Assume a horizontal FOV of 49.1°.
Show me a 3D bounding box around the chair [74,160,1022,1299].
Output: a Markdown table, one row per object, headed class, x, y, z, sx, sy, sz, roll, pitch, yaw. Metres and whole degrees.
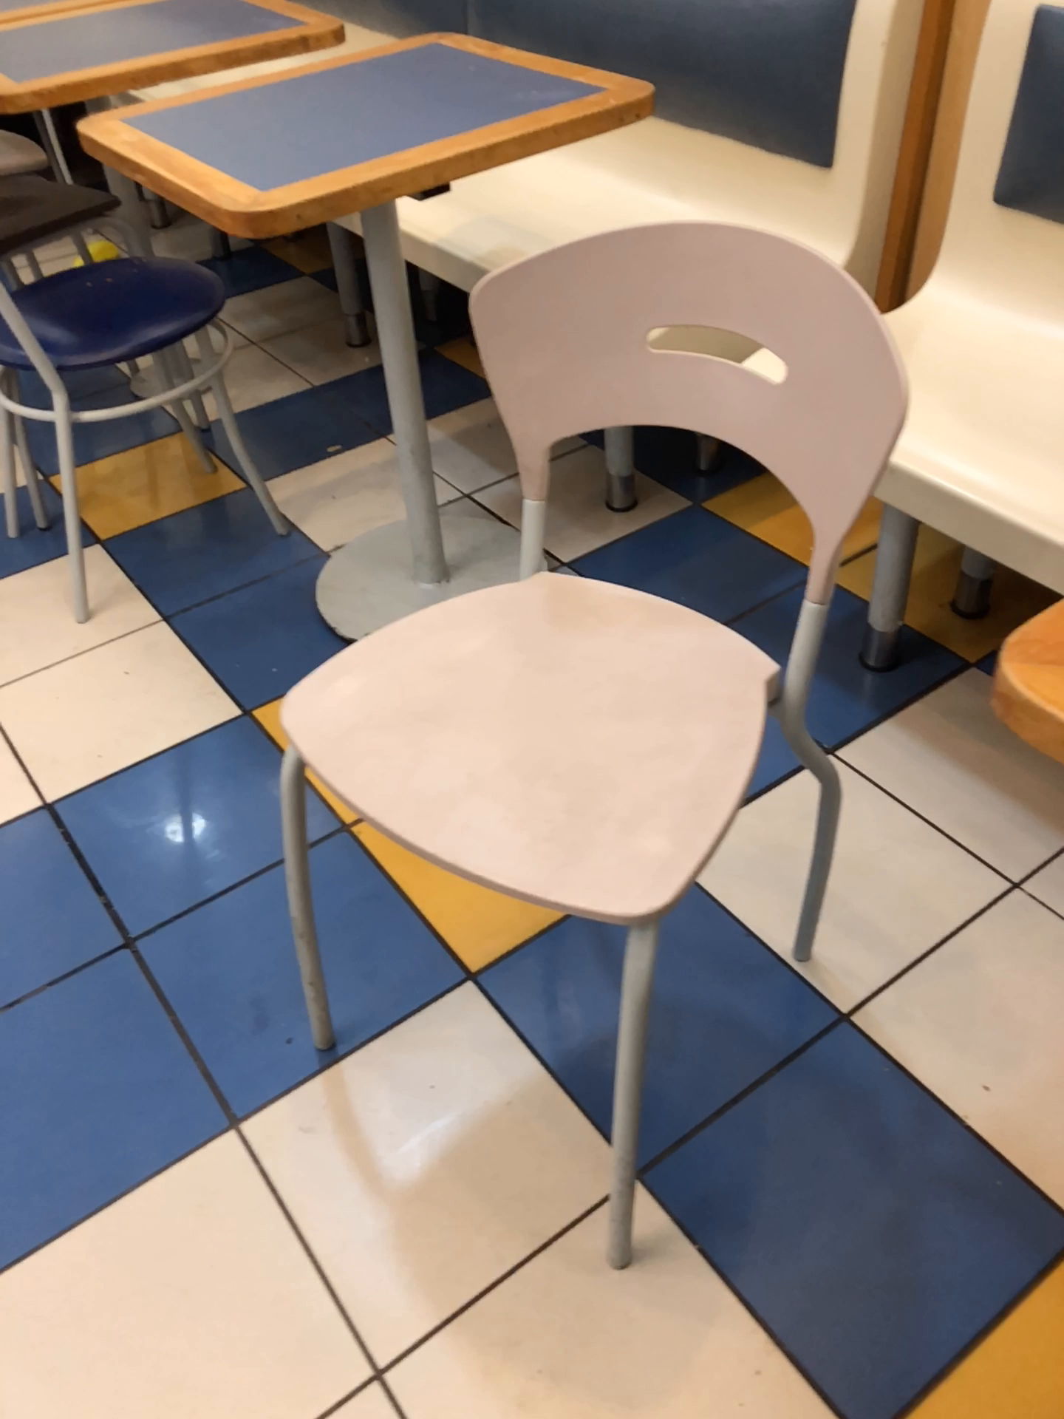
| class | x | y | z | sx | sy | sz | roll | pitch | yaw |
| --- | --- | --- | --- | --- | --- | --- | --- | --- | --- |
| chair | 0.038 | 0.022 | 1.050 | 0.452 | 0.794 | 0.472 | 27 | 49 | 31 |
